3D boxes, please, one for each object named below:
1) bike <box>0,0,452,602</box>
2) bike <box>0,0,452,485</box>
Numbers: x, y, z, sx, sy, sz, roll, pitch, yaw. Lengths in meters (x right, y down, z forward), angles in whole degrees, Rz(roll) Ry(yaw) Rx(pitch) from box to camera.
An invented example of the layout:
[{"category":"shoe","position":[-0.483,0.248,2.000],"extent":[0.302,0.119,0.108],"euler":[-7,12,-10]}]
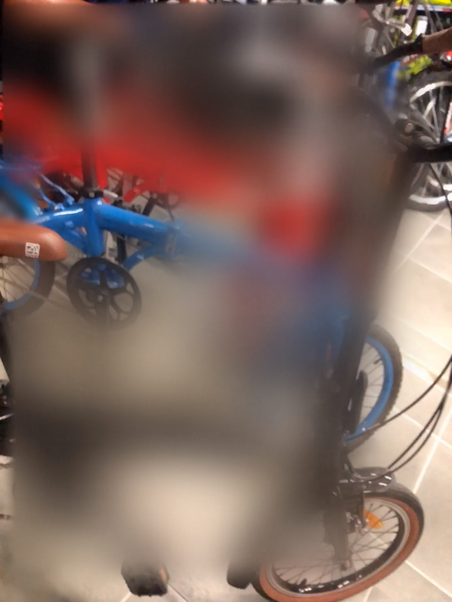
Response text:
[{"category":"bike","position":[-0.149,0.101,0.806],"extent":[1.273,1.057,0.567],"euler":[10,42,-7]},{"category":"bike","position":[-0.100,-0.265,1.267],"extent":[1.373,1.029,0.570],"euler":[19,42,0]}]
